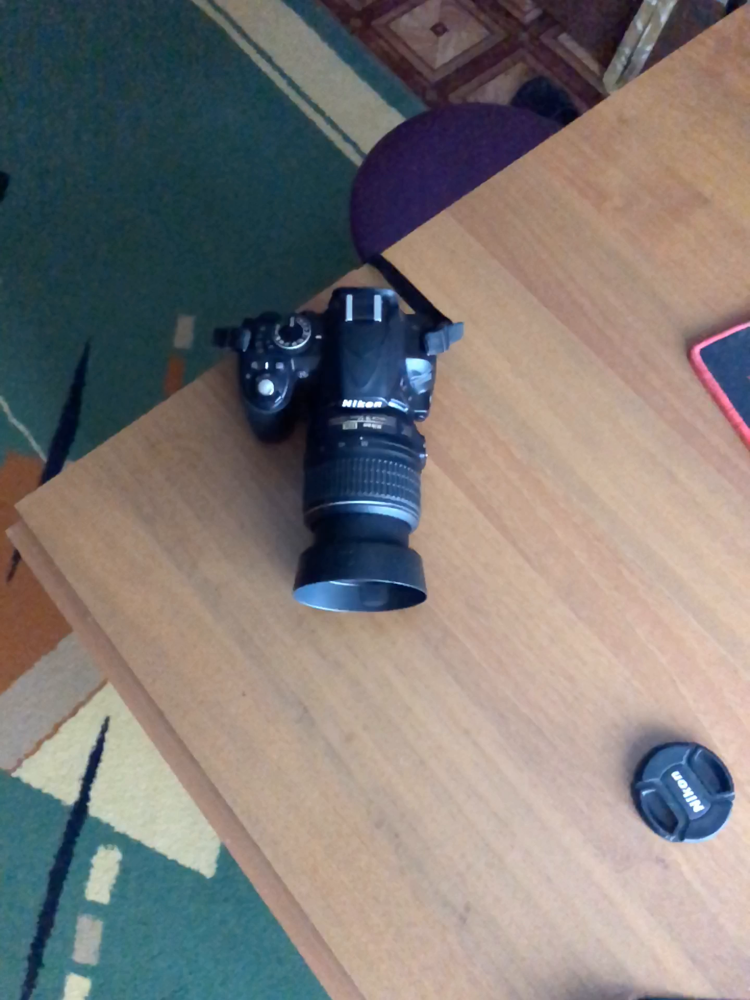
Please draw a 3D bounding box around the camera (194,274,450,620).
[{"bbox_3d":[-0.025,-0.030,0.508,0.129,0.092,0.183,3,70,1],"label":"camera"}]
